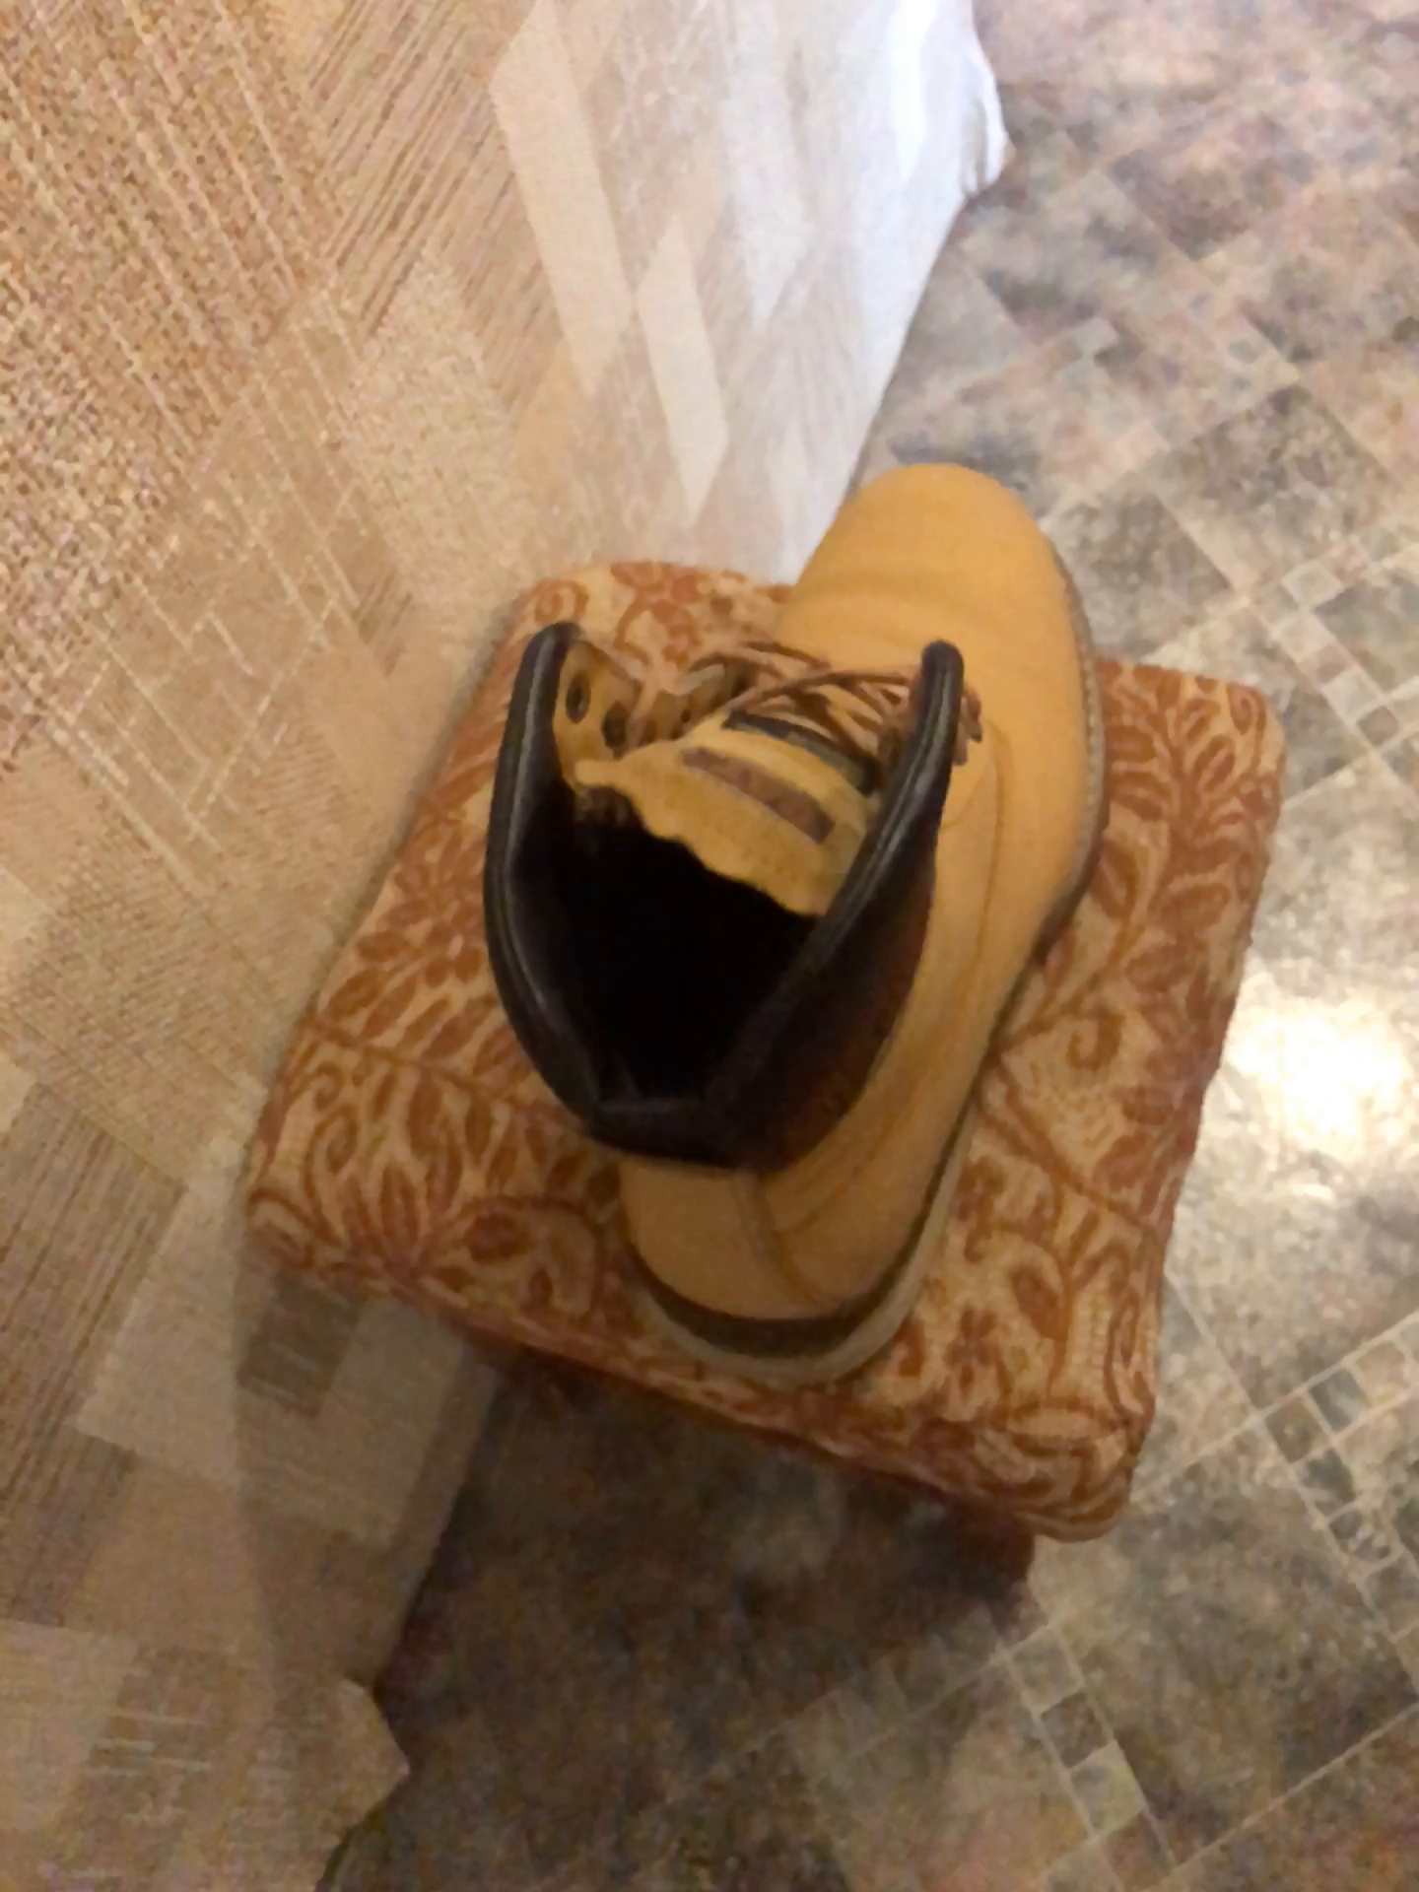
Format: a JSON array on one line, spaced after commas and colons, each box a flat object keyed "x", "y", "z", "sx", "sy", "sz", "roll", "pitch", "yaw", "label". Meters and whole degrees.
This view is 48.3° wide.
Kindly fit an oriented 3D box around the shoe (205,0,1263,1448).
[{"x": 0.035, "y": -0.059, "z": 0.420, "sx": 0.140, "sy": 0.189, "sz": 0.311, "roll": 12, "pitch": 65, "yaw": 16, "label": "shoe"}]
